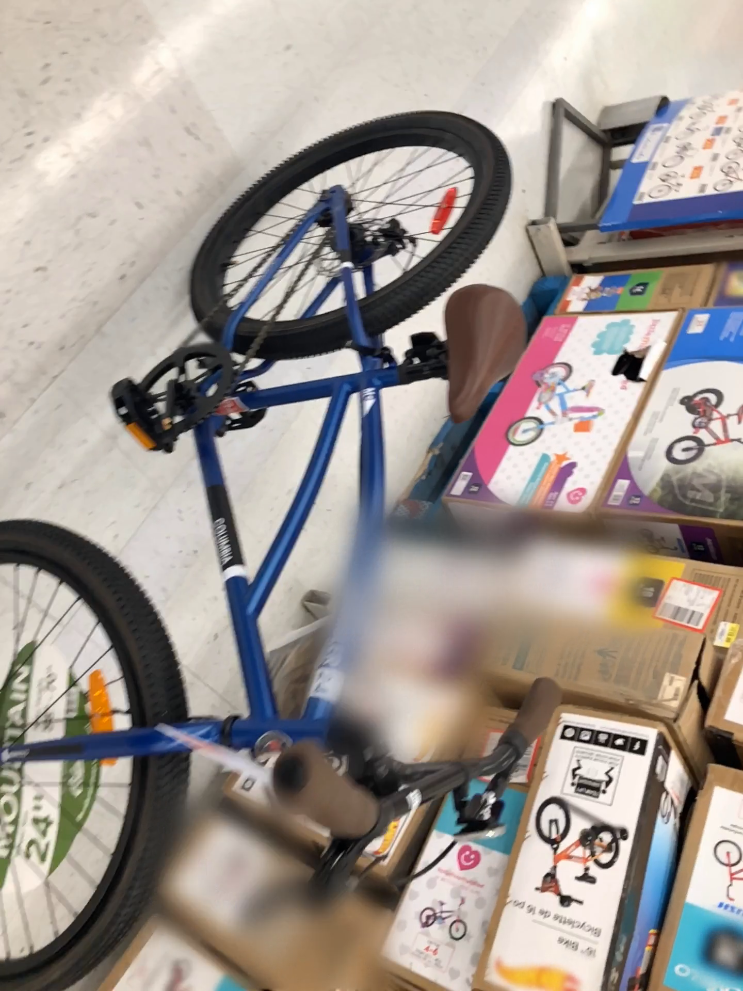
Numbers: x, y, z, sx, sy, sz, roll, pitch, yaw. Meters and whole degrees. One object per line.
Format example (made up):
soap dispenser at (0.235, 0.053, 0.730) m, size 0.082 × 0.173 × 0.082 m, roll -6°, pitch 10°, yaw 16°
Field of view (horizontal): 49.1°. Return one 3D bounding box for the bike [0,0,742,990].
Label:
bike at (-0.073, -0.006, 1.177) m, size 0.651 × 0.928 × 1.554 m, roll 47°, pitch 60°, yaw -44°
